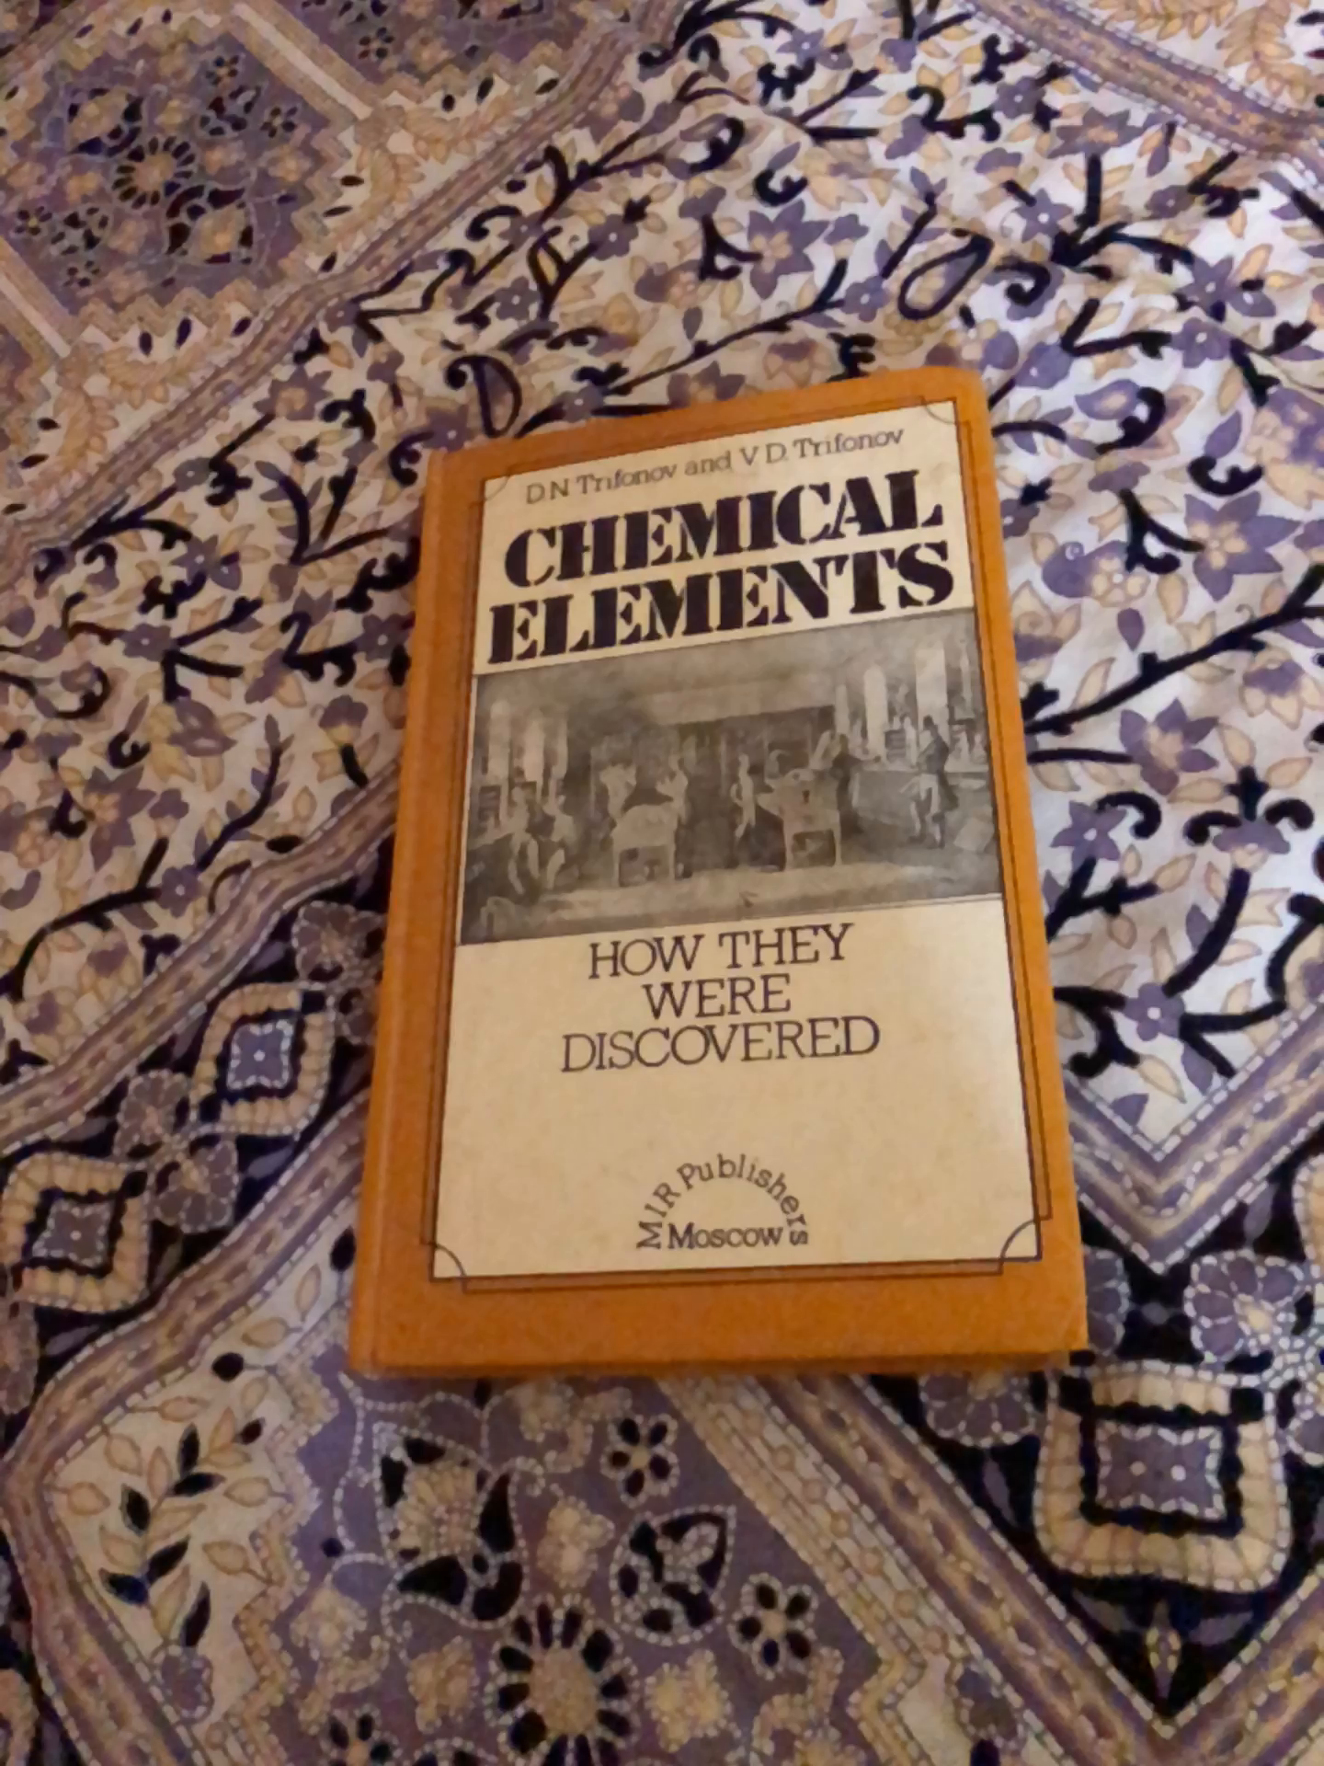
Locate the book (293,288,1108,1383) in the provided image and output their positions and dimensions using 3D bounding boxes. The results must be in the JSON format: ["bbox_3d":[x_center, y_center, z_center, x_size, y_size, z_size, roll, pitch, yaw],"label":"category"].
[{"bbox_3d":[0.006,-0.016,0.306,0.140,0.030,0.220,-6,65,13],"label":"book"}]
